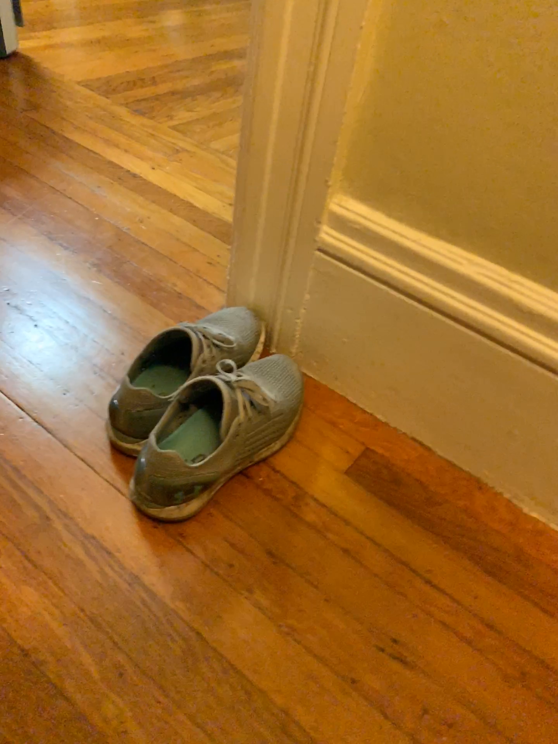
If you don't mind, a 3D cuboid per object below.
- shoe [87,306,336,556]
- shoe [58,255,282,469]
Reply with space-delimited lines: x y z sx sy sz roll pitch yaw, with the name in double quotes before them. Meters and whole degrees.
"shoe" -0.061 0.047 0.621 0.110 0.089 0.271 30 46 19
"shoe" -0.112 -0.026 0.658 0.110 0.080 0.261 26 45 15
